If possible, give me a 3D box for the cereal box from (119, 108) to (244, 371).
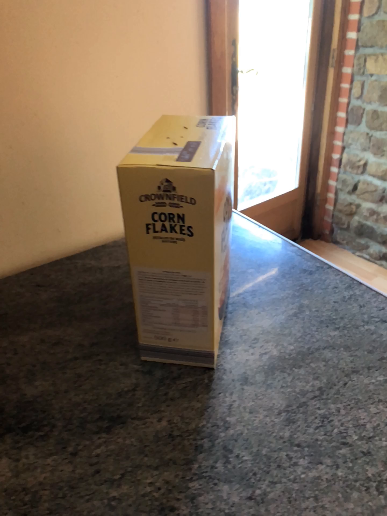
[{"bbox_3d":[0.001,-0.032,0.534,0.100,0.258,0.201,4,31,10],"label":"cereal box"}]
